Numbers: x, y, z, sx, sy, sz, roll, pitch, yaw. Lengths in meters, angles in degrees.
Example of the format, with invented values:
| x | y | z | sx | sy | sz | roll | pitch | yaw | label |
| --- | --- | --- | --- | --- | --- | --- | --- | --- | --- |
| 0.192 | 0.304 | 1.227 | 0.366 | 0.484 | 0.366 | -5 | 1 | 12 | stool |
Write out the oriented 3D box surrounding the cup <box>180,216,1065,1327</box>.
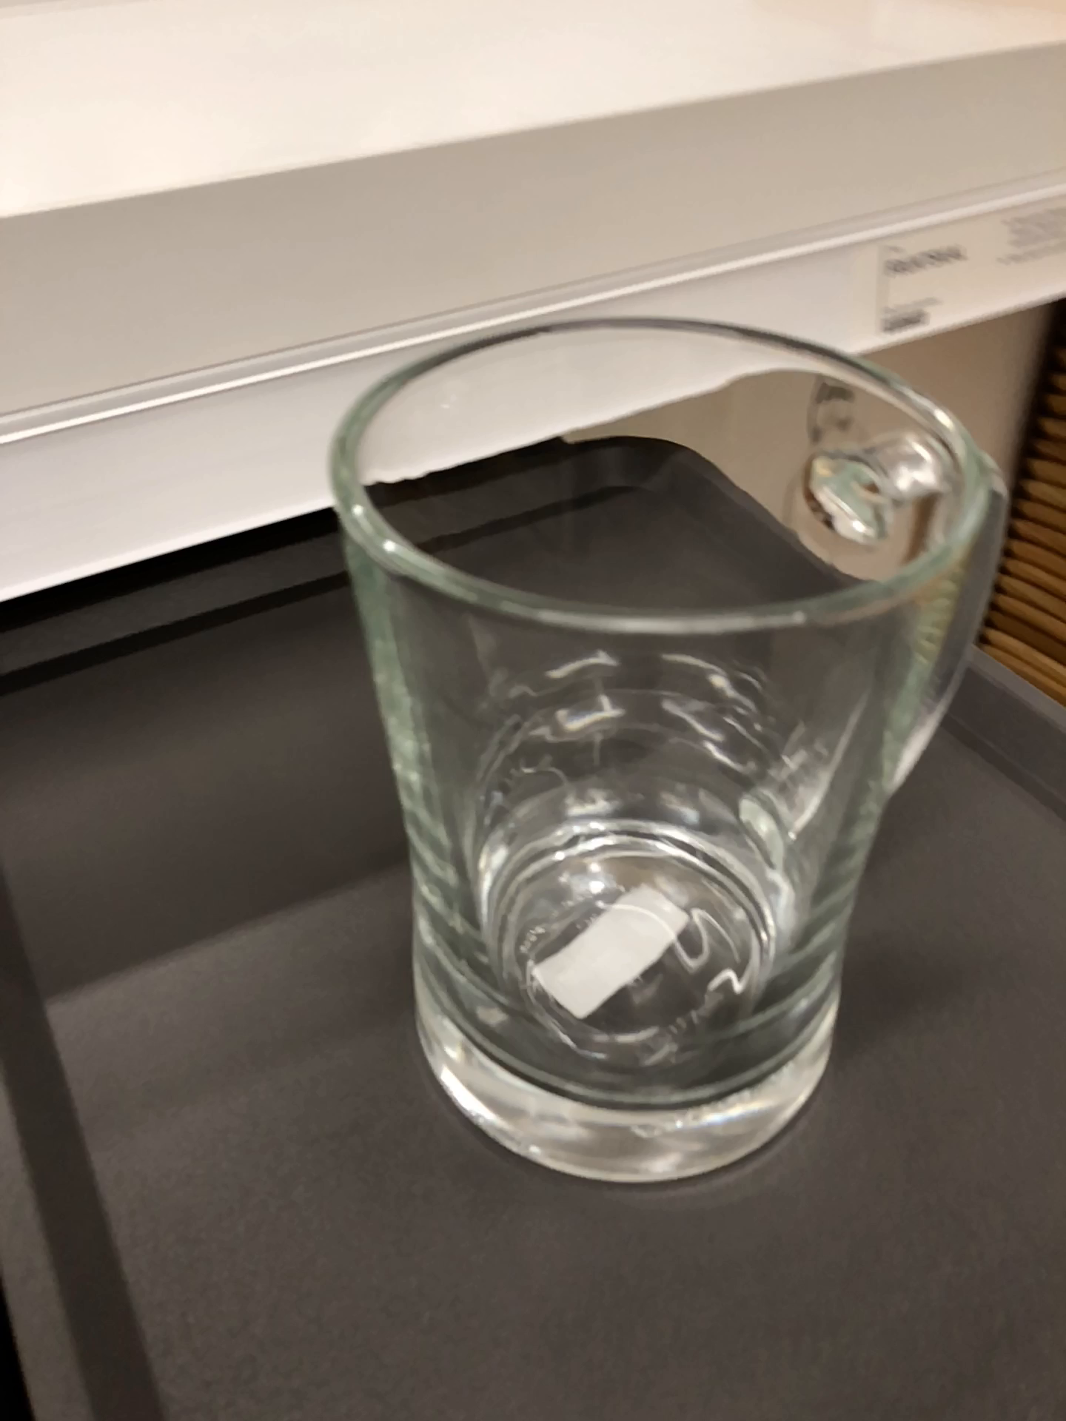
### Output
| x | y | z | sx | sy | sz | roll | pitch | yaw | label |
| --- | --- | --- | --- | --- | --- | --- | --- | --- | --- |
| 0.041 | -0.002 | 0.234 | 0.160 | 0.129 | 0.110 | -26 | 45 | -27 | cup |
